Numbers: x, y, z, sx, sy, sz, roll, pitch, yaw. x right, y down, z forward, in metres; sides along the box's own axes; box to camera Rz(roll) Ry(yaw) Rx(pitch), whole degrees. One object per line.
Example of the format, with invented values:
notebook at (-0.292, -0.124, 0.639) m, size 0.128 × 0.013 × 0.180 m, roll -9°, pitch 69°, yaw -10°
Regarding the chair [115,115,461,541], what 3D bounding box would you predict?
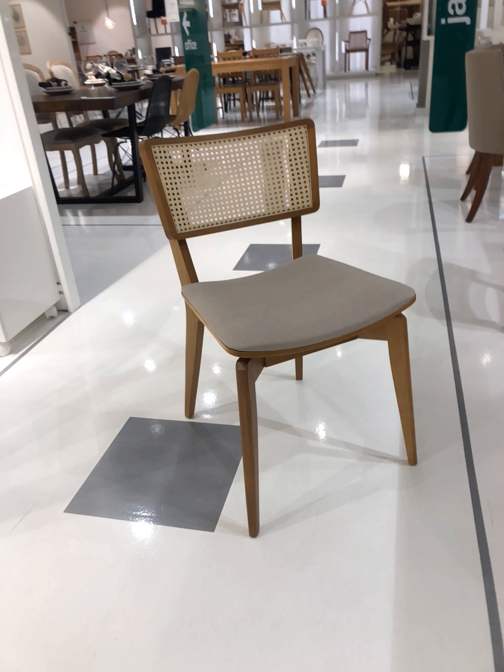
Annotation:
chair at (0.062, -0.082, 1.402) m, size 0.541 × 0.794 × 0.603 m, roll -16°, pitch 30°, yaw -21°
